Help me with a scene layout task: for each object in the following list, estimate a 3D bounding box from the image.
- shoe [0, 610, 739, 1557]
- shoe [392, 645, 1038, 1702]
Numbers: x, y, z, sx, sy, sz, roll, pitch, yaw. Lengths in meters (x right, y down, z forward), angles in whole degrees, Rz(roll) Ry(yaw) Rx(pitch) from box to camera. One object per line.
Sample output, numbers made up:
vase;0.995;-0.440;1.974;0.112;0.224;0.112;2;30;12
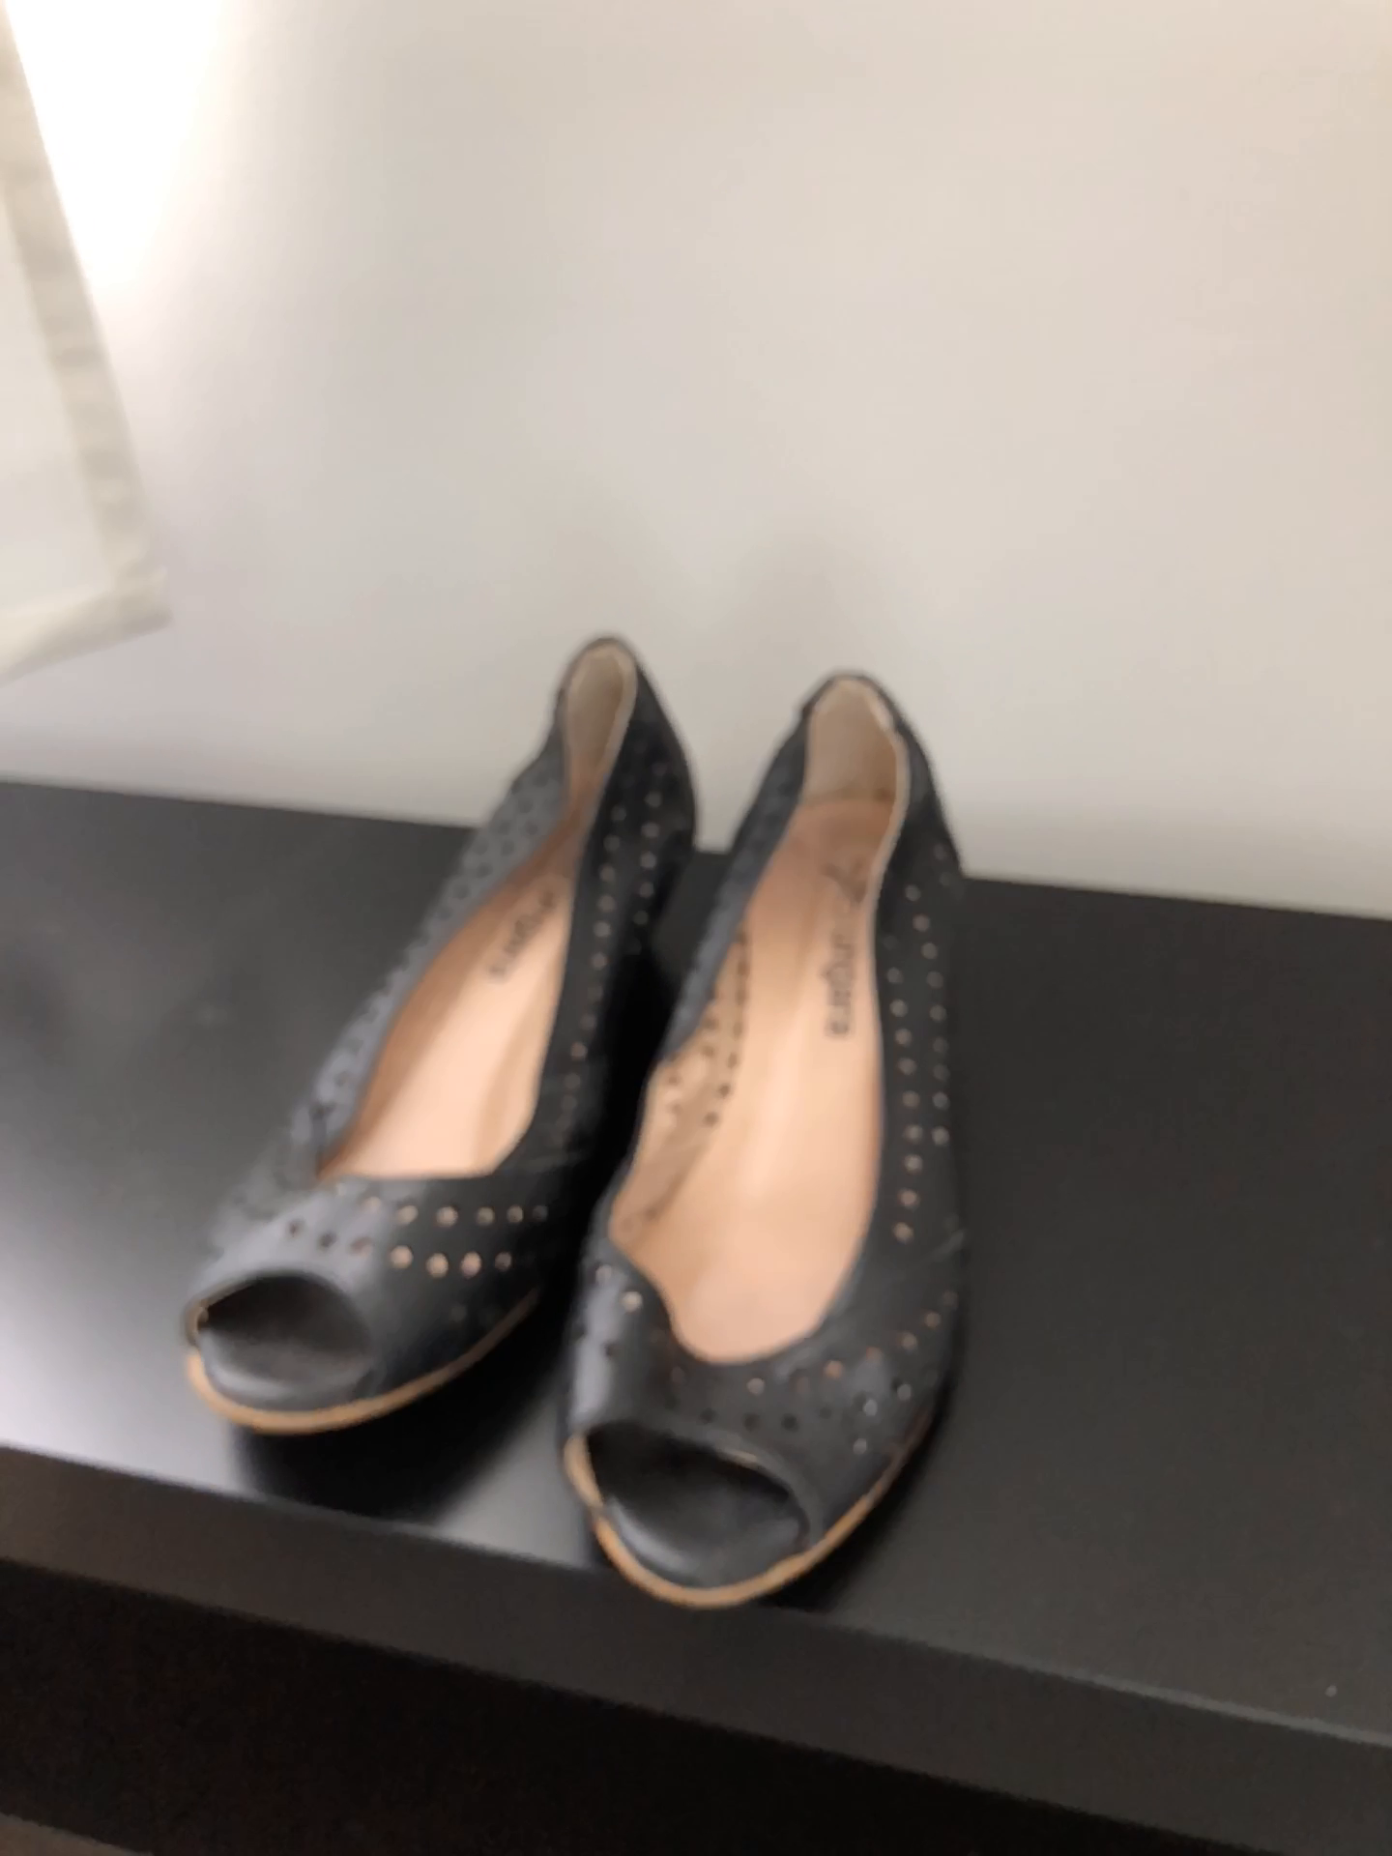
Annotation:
shoe;-0.060;0.018;0.397;0.085;0.100;0.231;7;37;14
shoe;0.022;0.033;0.356;0.085;0.100;0.221;6;37;13
